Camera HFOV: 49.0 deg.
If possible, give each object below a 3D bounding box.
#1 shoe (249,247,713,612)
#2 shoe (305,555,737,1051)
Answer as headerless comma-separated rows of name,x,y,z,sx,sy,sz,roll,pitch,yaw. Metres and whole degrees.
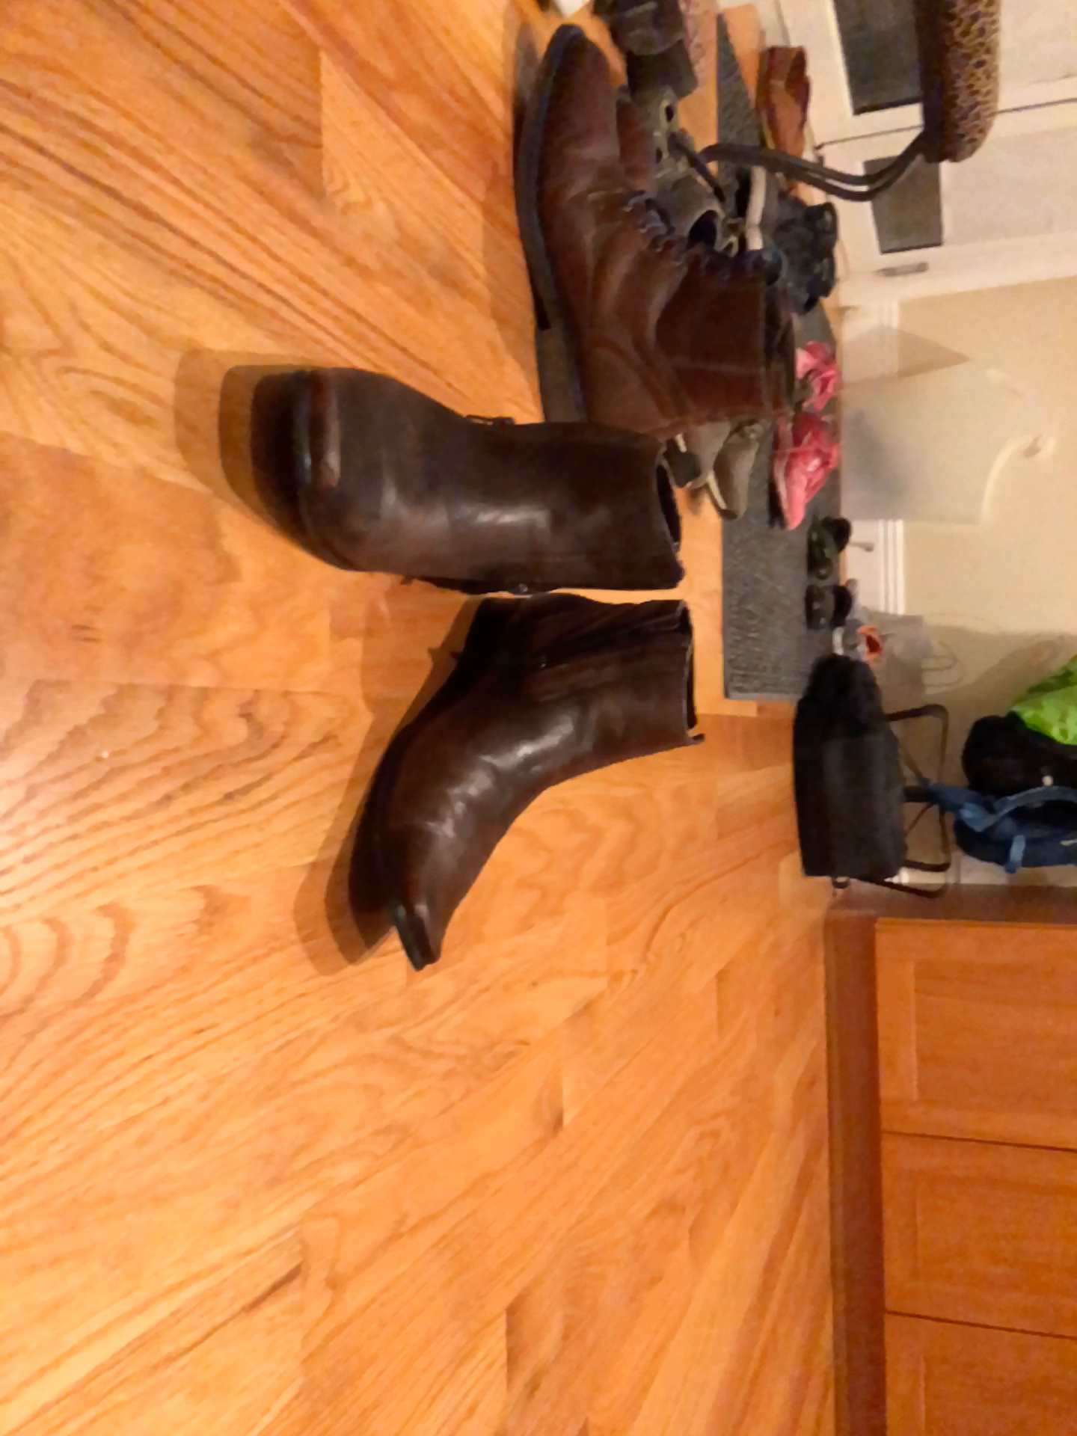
shoe,-0.009,-0.129,0.628,0.291,0.142,0.109,2,87,-70
shoe,0.012,0.031,0.687,0.301,0.152,0.109,-66,148,-50
